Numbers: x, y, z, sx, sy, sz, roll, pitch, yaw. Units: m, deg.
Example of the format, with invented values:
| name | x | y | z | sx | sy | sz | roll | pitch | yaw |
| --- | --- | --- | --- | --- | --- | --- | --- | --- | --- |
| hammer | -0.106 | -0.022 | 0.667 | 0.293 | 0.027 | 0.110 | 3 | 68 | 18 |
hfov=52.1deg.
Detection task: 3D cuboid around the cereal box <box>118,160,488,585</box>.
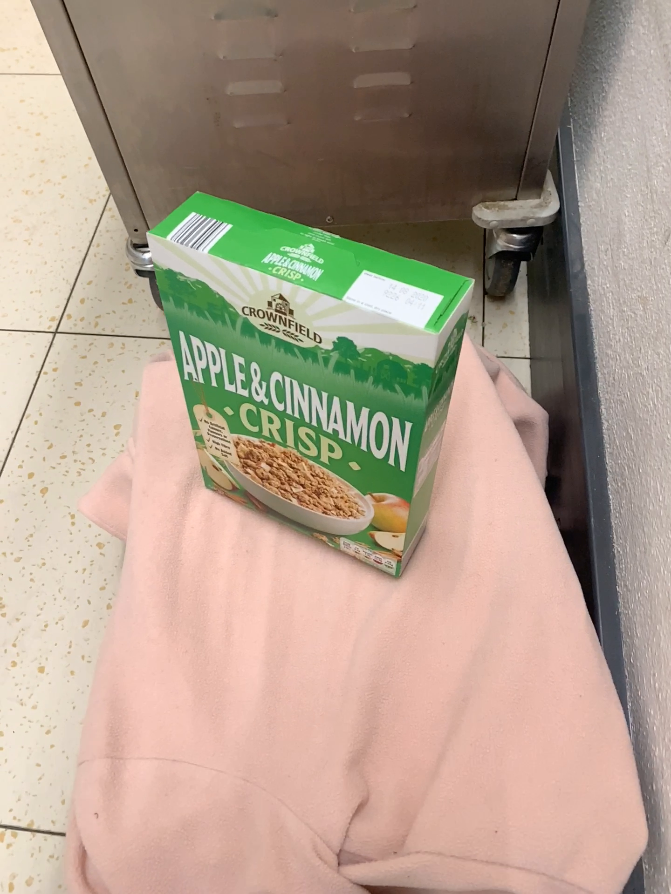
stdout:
| name | x | y | z | sx | sy | sz | roll | pitch | yaw |
| --- | --- | --- | --- | --- | --- | --- | --- | --- | --- |
| cereal box | -0.021 | -0.033 | 0.462 | 0.190 | 0.258 | 0.060 | 24 | 56 | 17 |
